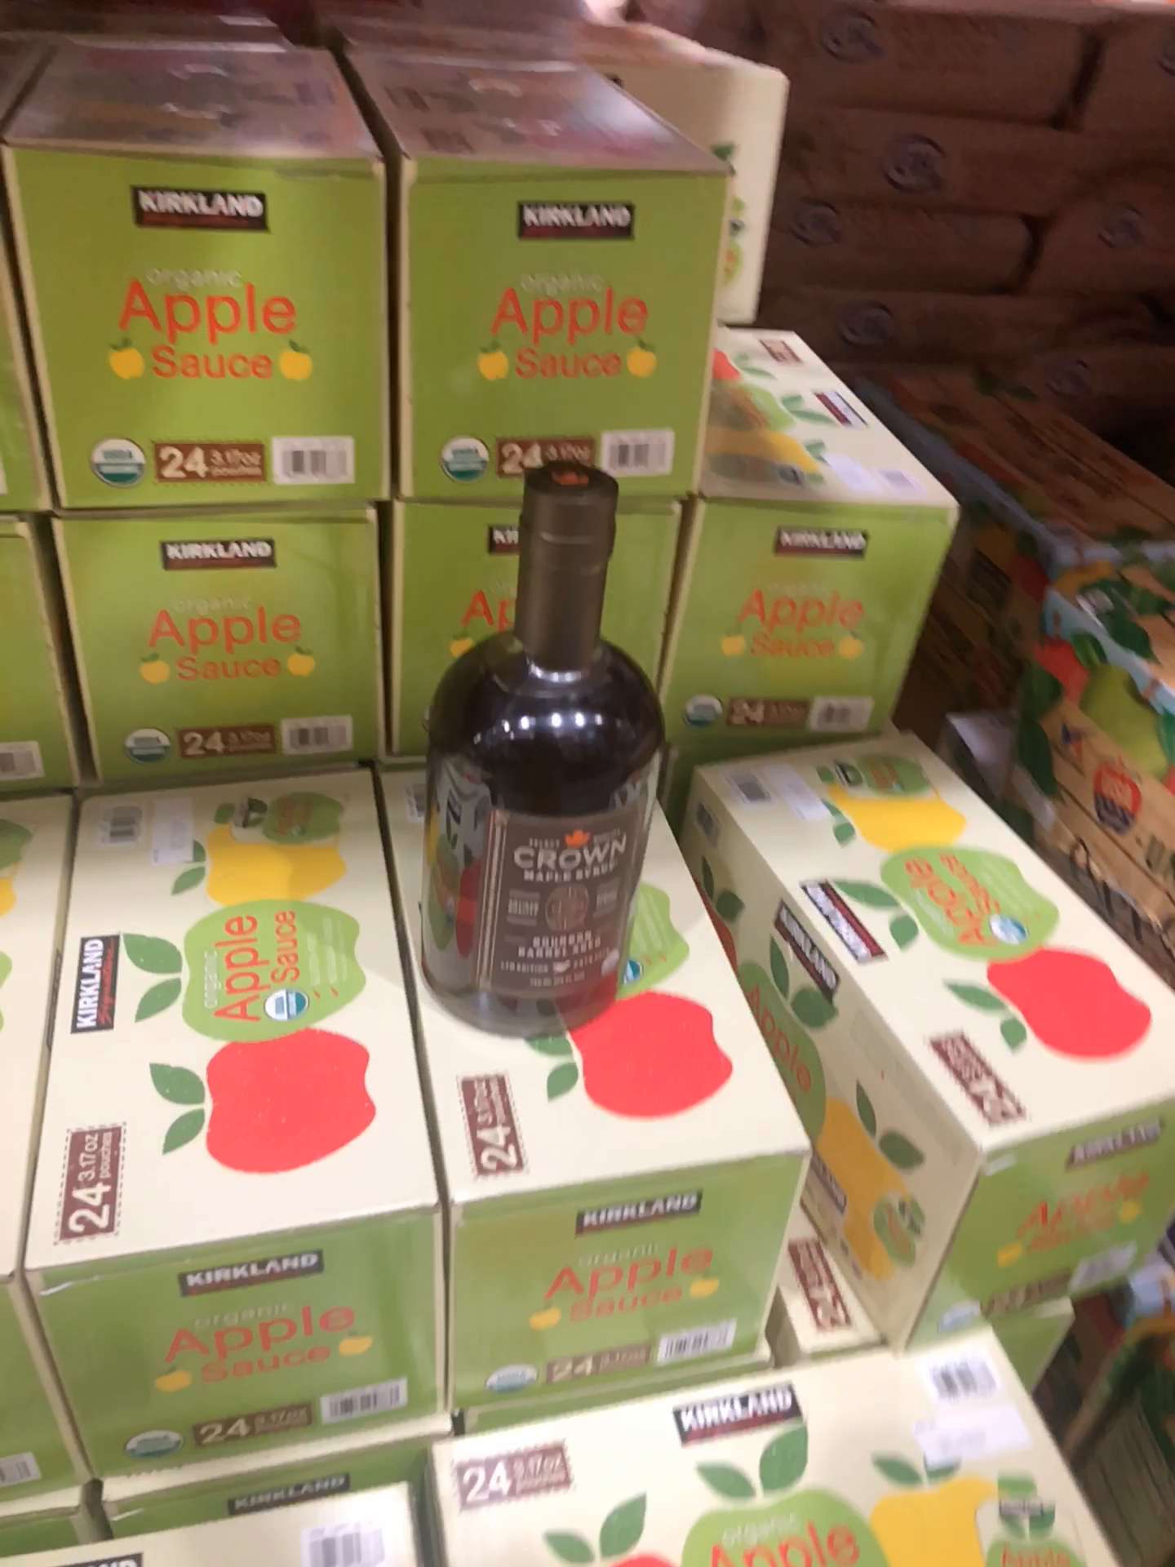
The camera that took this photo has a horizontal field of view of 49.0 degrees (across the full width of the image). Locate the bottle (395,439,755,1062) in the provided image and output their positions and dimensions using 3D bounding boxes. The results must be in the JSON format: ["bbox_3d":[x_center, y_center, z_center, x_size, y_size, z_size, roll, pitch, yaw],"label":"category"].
[{"bbox_3d":[-0.016,-0.010,0.501,0.100,0.219,0.090,-7,37,-17],"label":"bottle"}]
